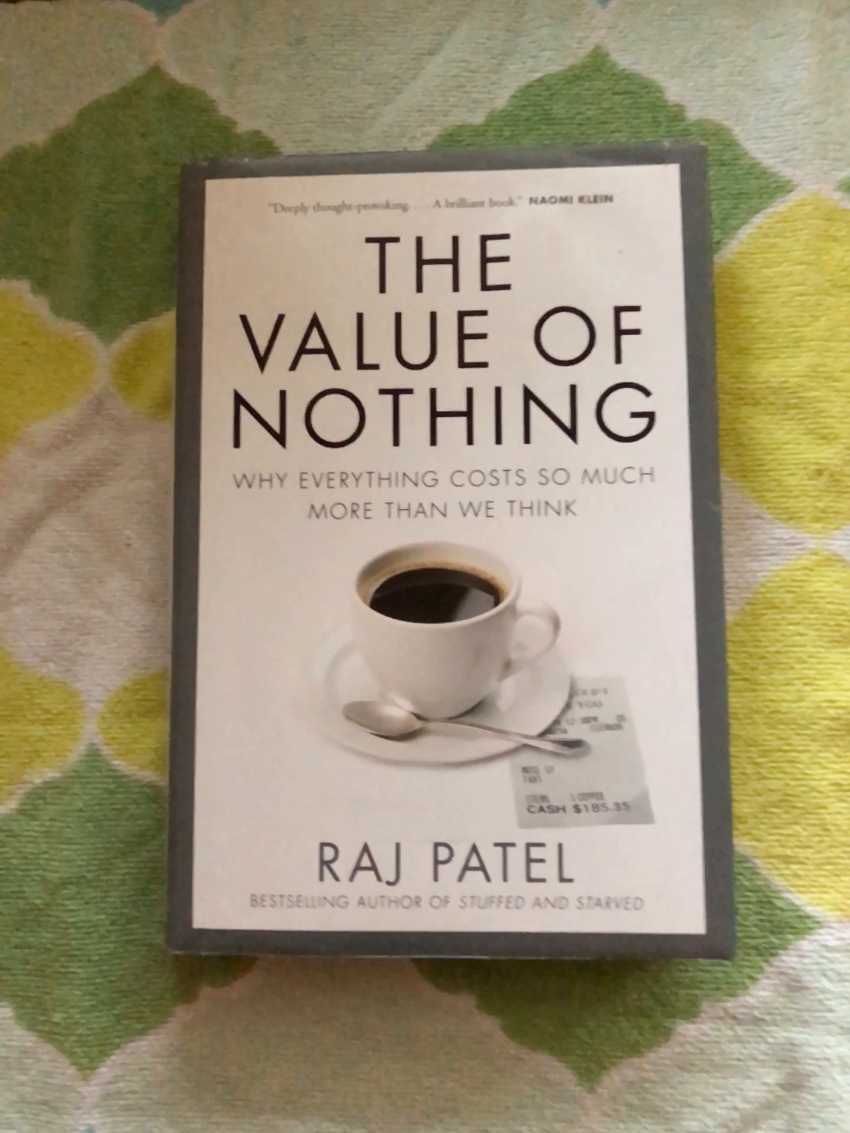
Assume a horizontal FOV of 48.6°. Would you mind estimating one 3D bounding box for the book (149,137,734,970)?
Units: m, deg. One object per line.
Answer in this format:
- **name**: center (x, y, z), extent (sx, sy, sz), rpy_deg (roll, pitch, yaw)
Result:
- **book**: center (0.003, -0.006, 0.251), extent (0.140, 0.030, 0.206), rpy_deg (0, 84, 4)
